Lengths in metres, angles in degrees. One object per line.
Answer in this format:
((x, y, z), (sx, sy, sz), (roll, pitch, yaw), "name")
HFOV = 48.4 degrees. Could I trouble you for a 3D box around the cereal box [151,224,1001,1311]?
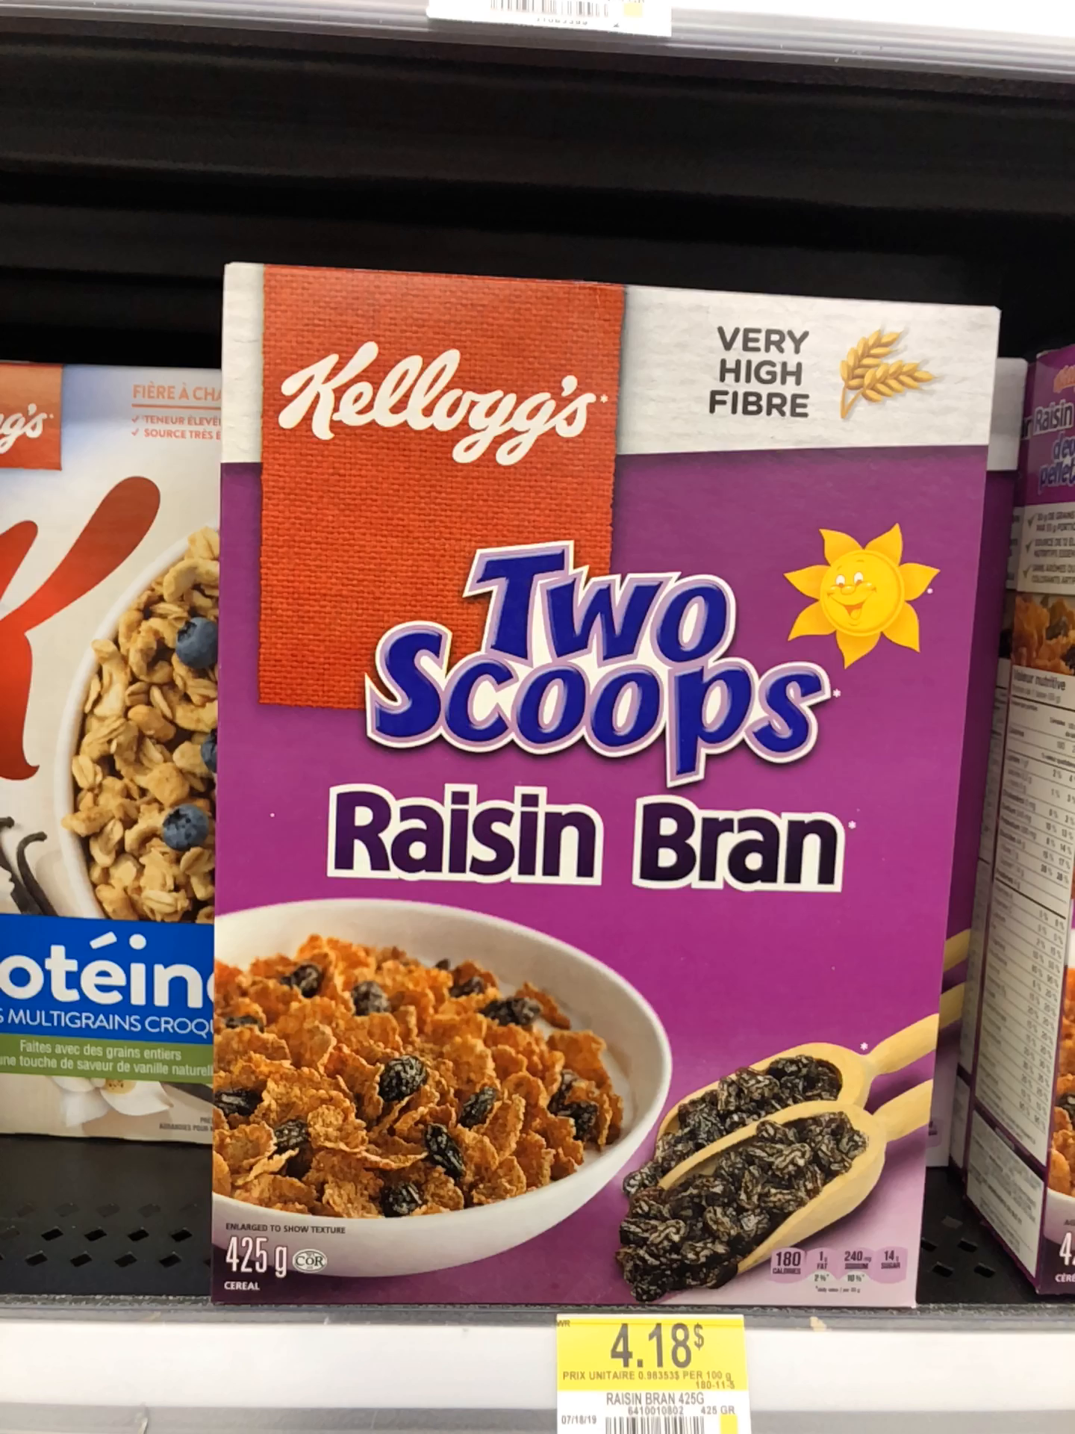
((0.004, 0.020, 0.323), (0.200, 0.269, 0.050), (2, 8, -4), "cereal box")
